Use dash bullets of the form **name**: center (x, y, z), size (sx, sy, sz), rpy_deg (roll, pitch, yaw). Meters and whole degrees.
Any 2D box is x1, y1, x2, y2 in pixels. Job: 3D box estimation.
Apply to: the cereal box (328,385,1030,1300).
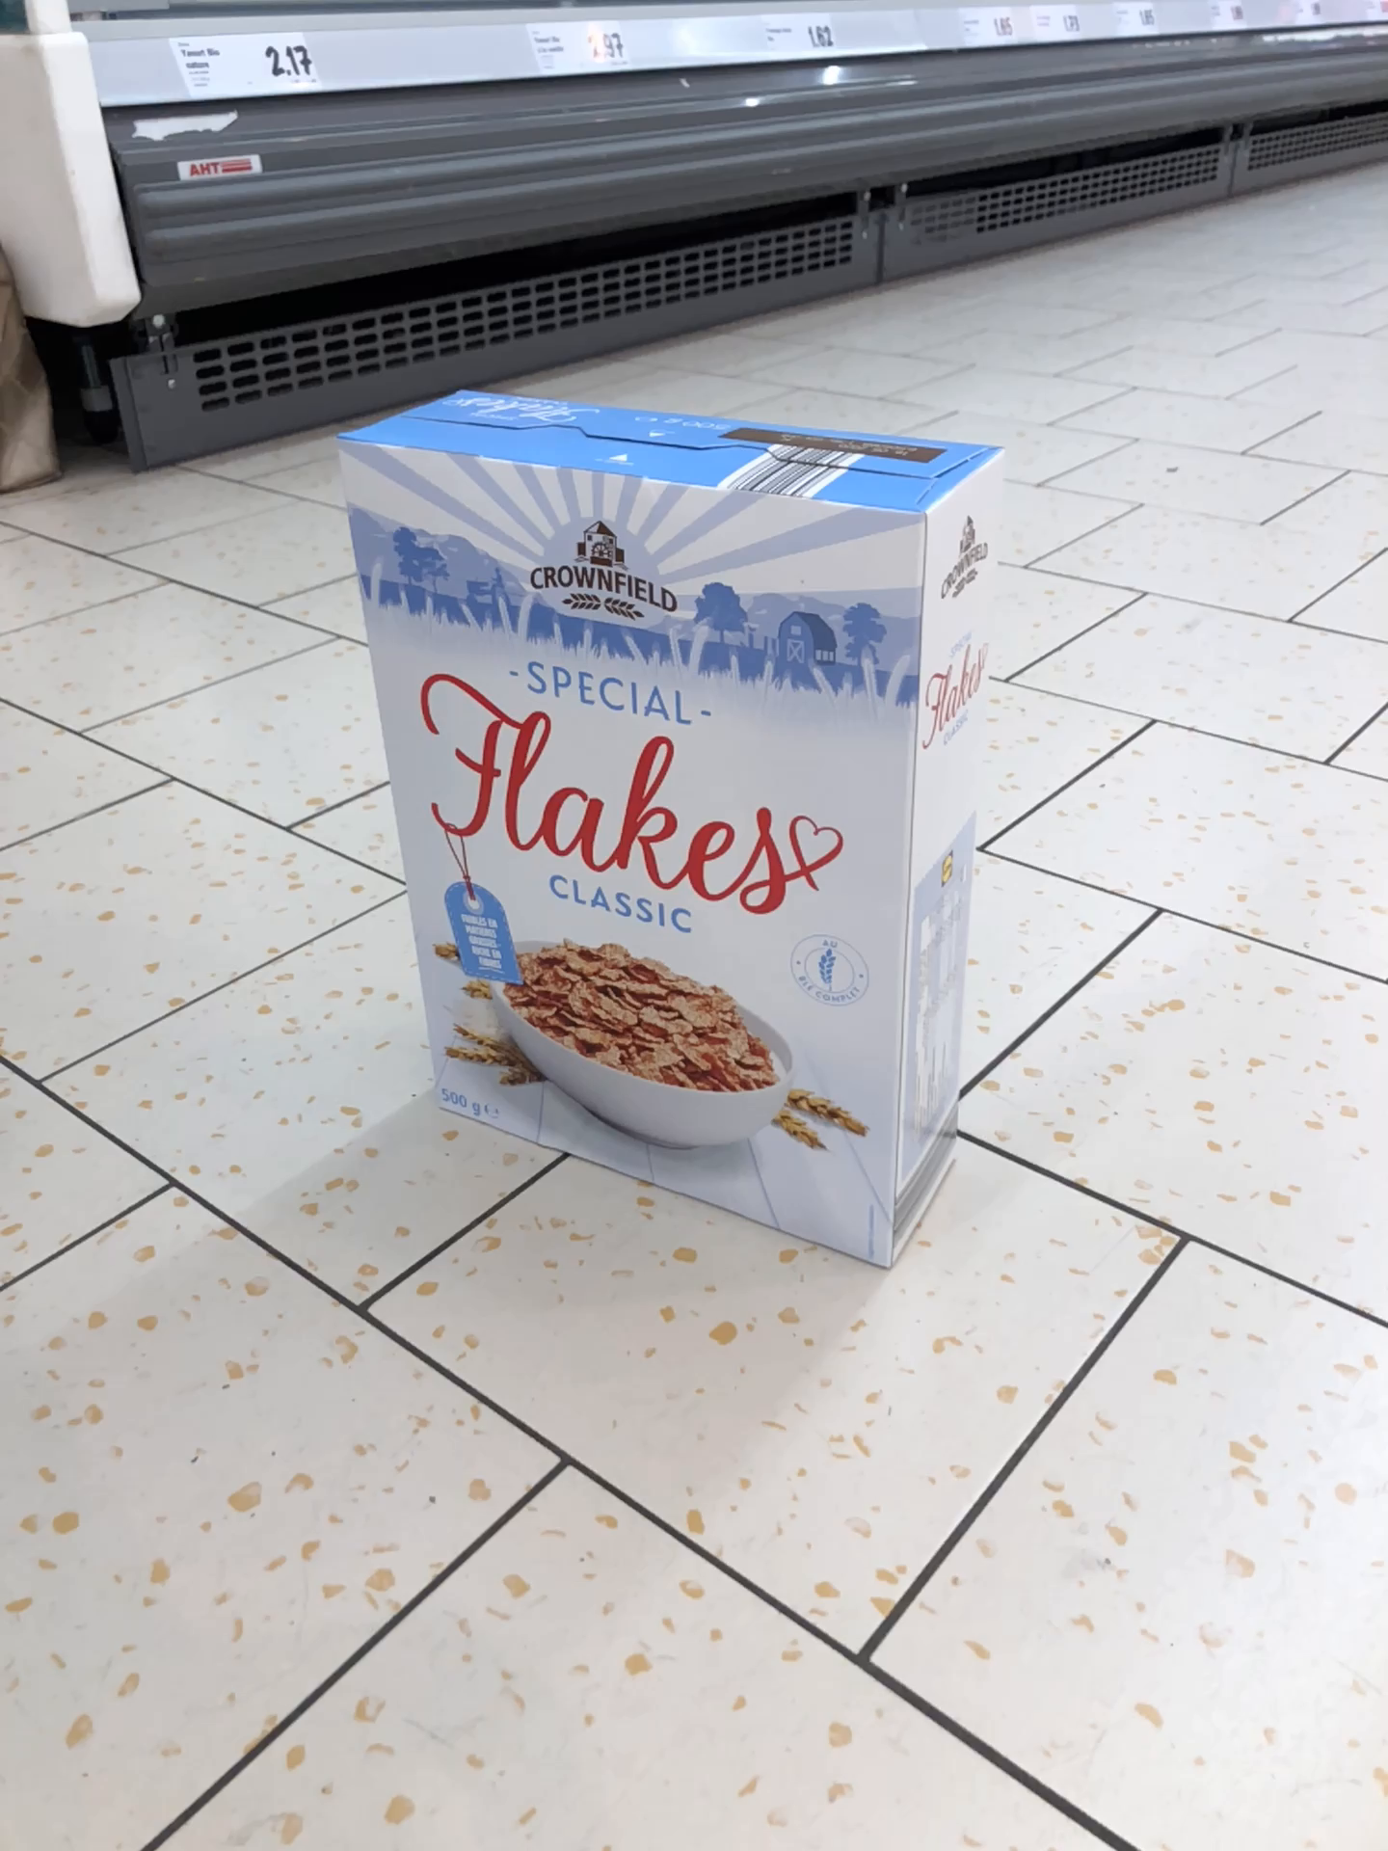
- **cereal box**: center (-0.005, -0.029, 0.517), size (0.200, 0.268, 0.070), rpy_deg (15, 34, 27)
